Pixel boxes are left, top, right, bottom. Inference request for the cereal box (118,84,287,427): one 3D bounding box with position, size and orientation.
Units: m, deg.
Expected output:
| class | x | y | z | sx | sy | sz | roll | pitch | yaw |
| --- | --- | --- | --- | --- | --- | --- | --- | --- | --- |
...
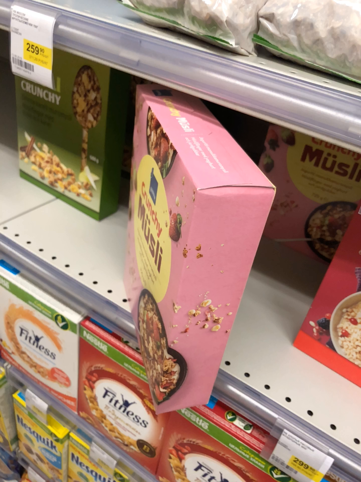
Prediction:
| class | x | y | z | sx | sy | sz | roll | pitch | yaw |
| --- | --- | --- | --- | --- | --- | --- | --- | --- | --- |
| cereal box | -0.008 | 0.014 | 0.392 | 0.060 | 0.258 | 0.201 | -4 | 40 | -18 |
